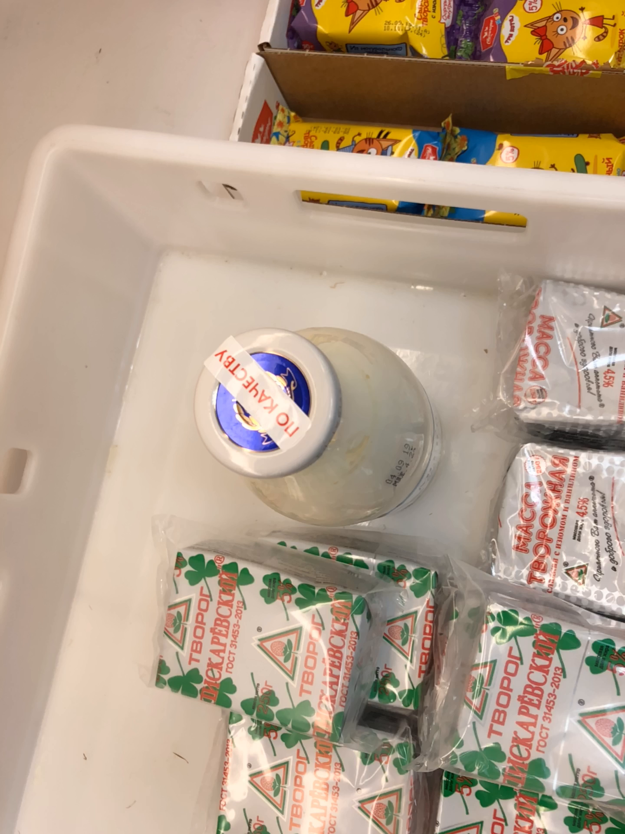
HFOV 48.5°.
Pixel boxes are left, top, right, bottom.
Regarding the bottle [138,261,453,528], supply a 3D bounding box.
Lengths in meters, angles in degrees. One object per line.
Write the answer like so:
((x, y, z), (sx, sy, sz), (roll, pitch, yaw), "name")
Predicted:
((0.015, 0.007, 0.308), (0.072, 0.221, 0.071), (-2, 81, 14), "bottle")
